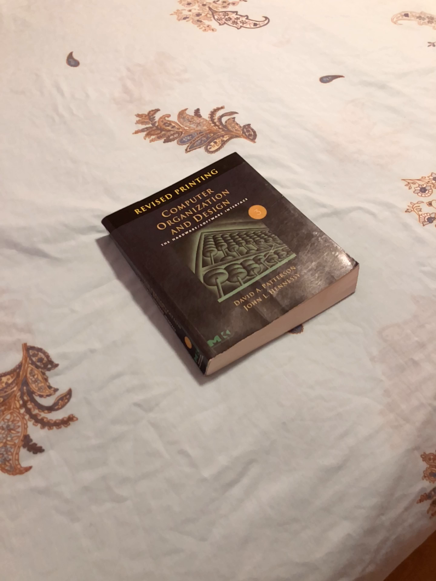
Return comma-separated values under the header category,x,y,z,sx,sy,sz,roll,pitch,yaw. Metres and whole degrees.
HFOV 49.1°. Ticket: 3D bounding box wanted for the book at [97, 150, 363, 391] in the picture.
category,x,y,z,sx,sy,sz,roll,pitch,yaw
book,0.008,-0.038,0.559,0.201,0.073,0.226,-30,60,-20
